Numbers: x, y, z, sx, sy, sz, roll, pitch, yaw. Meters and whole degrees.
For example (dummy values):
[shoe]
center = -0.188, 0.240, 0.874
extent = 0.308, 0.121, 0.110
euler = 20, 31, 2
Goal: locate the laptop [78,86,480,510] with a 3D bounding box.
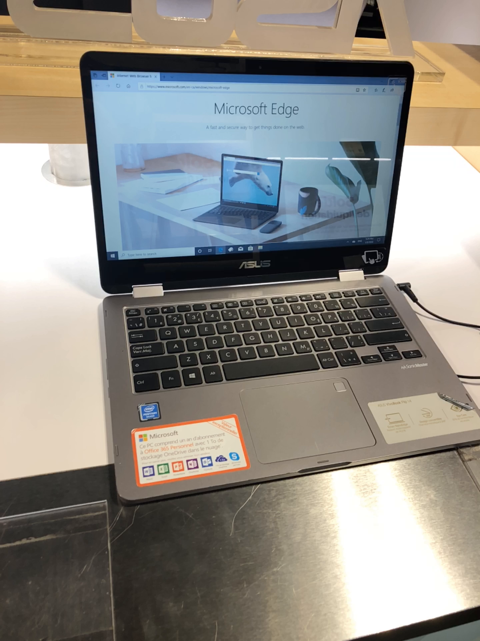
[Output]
[laptop]
center = 0.039, -0.047, 0.445
extent = 0.305, 0.212, 0.279
euler = -7, 41, -14
